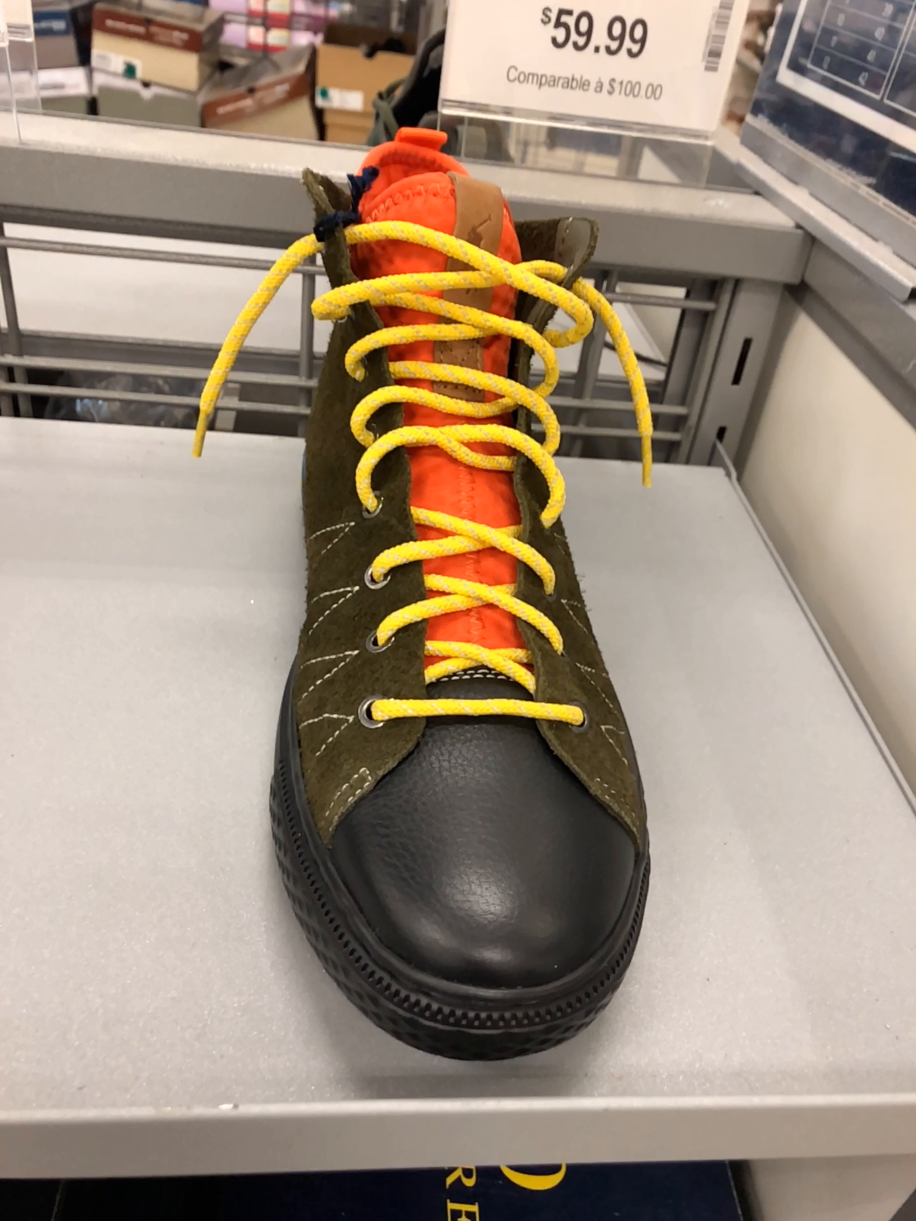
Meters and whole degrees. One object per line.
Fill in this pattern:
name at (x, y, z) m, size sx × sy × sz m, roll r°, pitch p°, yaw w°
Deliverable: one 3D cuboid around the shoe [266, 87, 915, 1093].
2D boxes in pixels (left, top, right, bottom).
shoe at (0.005, -0.040, 0.327) m, size 0.125 × 0.171 × 0.300 m, roll 1°, pitch 36°, yaw -11°
